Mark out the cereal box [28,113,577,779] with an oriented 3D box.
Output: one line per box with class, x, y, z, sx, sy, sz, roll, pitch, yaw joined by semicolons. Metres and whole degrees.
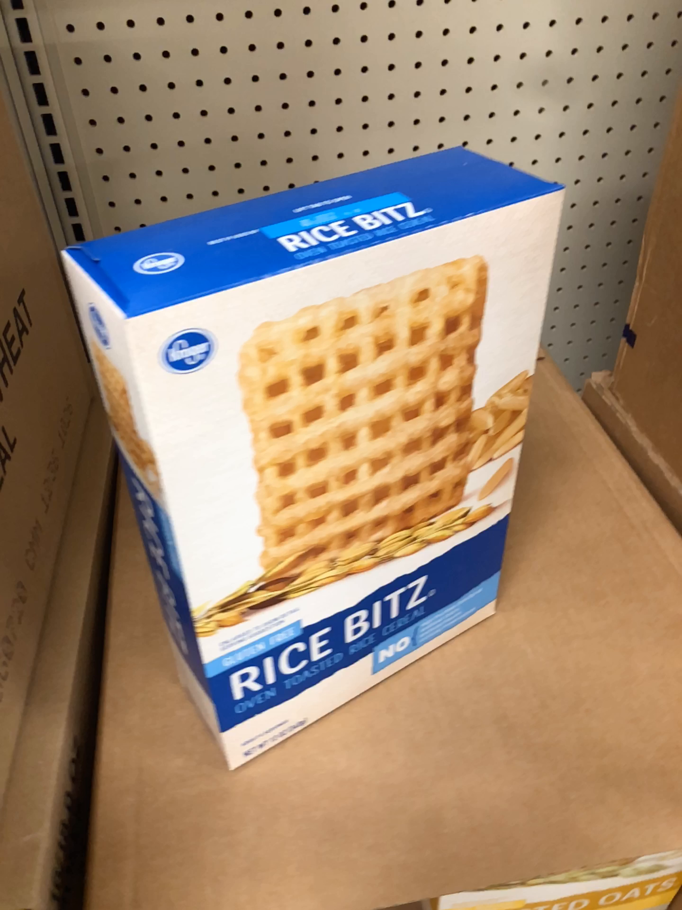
cereal box;-0.003;0.009;0.378;0.200;0.289;0.070;-24;45;-23
